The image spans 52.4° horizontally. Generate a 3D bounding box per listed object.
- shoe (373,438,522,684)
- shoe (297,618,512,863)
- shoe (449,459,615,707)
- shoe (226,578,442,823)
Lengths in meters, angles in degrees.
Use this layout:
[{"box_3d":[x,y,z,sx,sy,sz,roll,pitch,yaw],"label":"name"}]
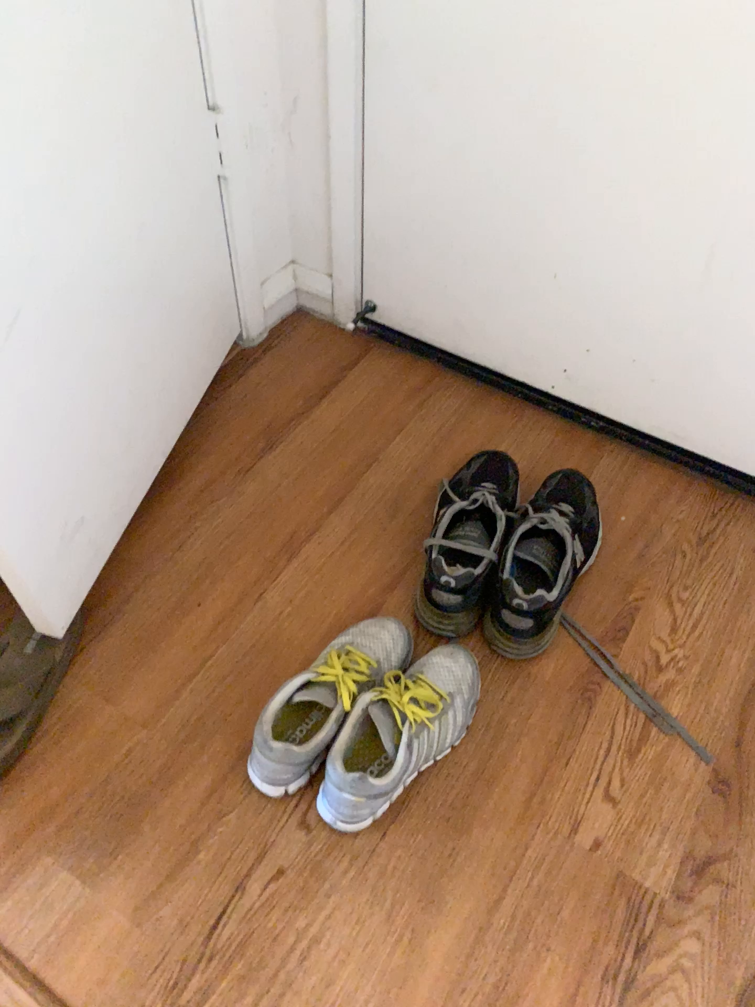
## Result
[{"box_3d":[0.106,0.080,1.141,0.100,0.169,0.311,21,53,9],"label":"shoe"},{"box_3d":[0.029,0.281,0.915,0.090,0.169,0.250,40,60,17],"label":"shoe"},{"box_3d":[0.222,0.110,1.100,0.100,0.169,0.301,25,54,12],"label":"shoe"},{"box_3d":[-0.050,0.229,0.894,0.070,0.169,0.260,40,60,17],"label":"shoe"}]
